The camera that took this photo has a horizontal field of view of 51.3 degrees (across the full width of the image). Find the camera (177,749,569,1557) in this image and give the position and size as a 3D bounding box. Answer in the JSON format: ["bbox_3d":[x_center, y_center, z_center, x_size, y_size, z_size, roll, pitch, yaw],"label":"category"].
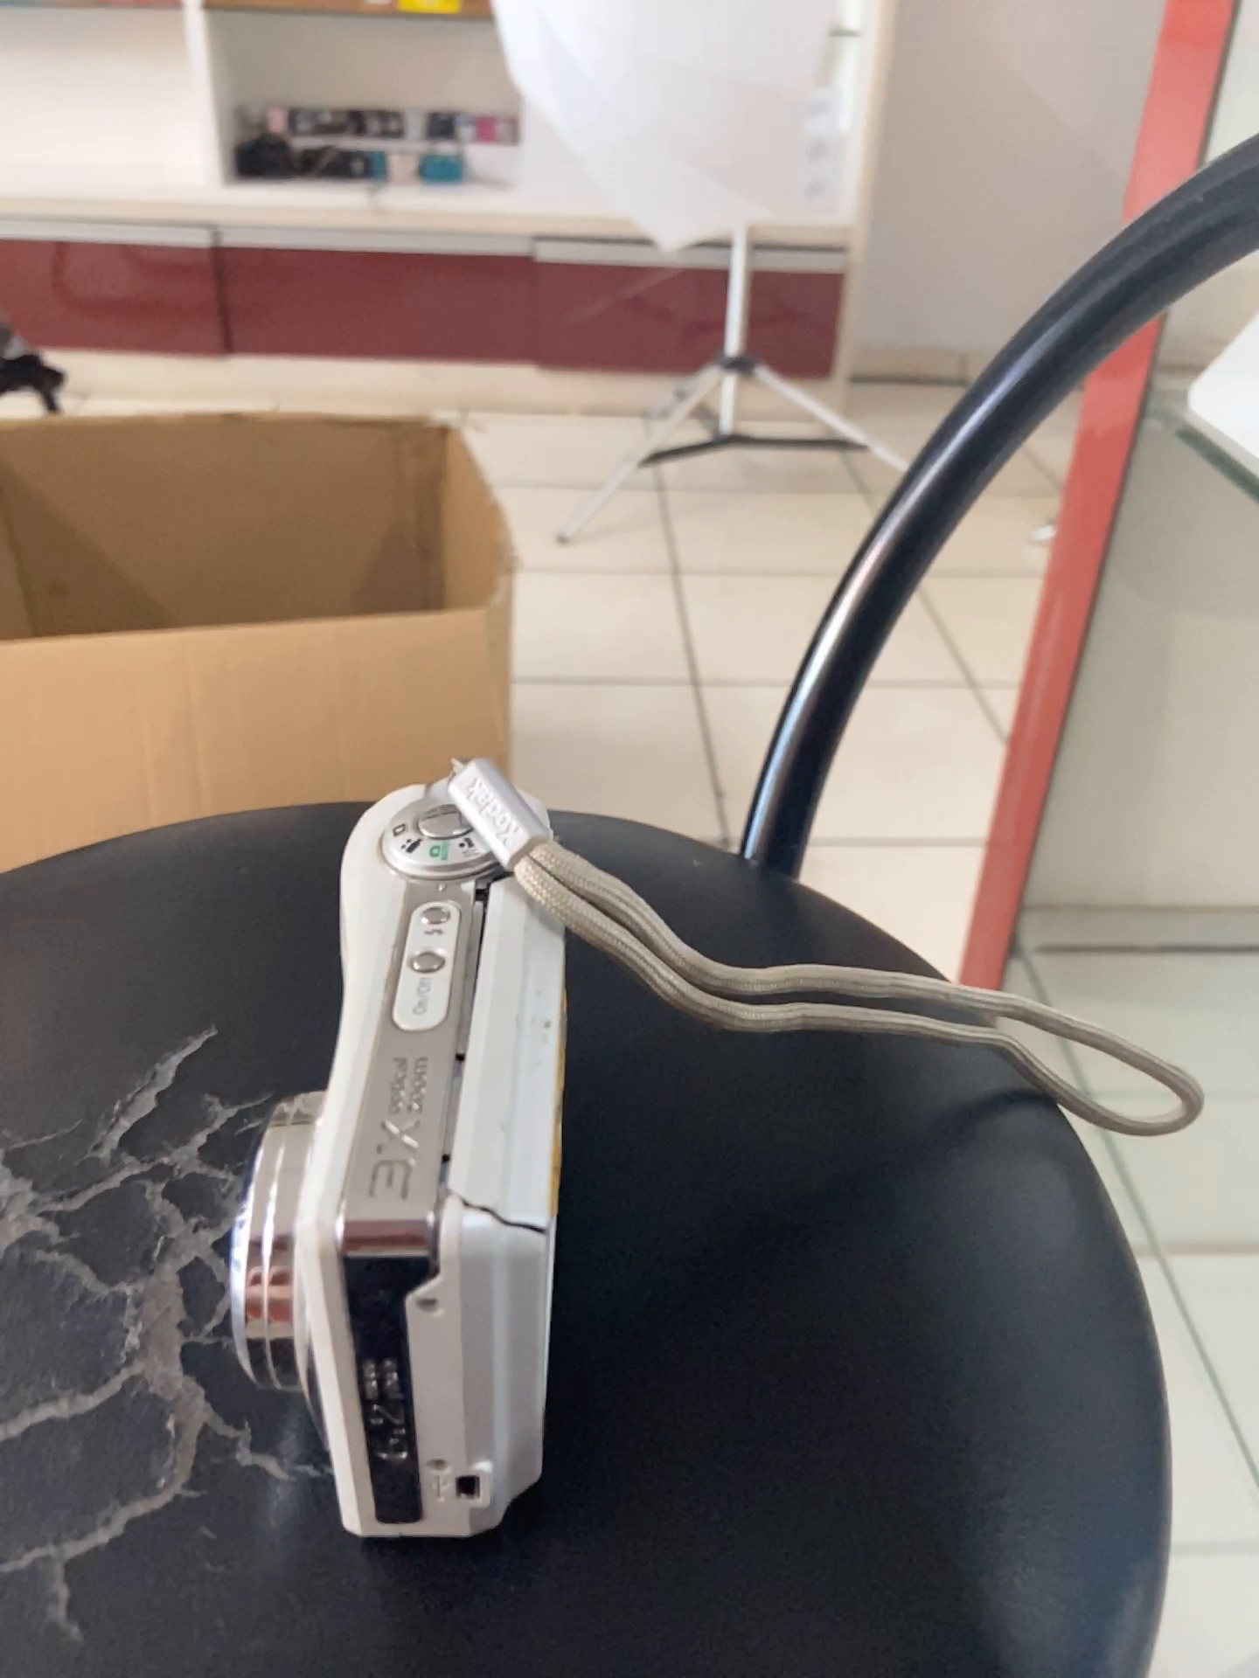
[{"bbox_3d":[-0.031,0.040,0.192,0.040,0.070,0.091,-1,34,-5],"label":"camera"}]
